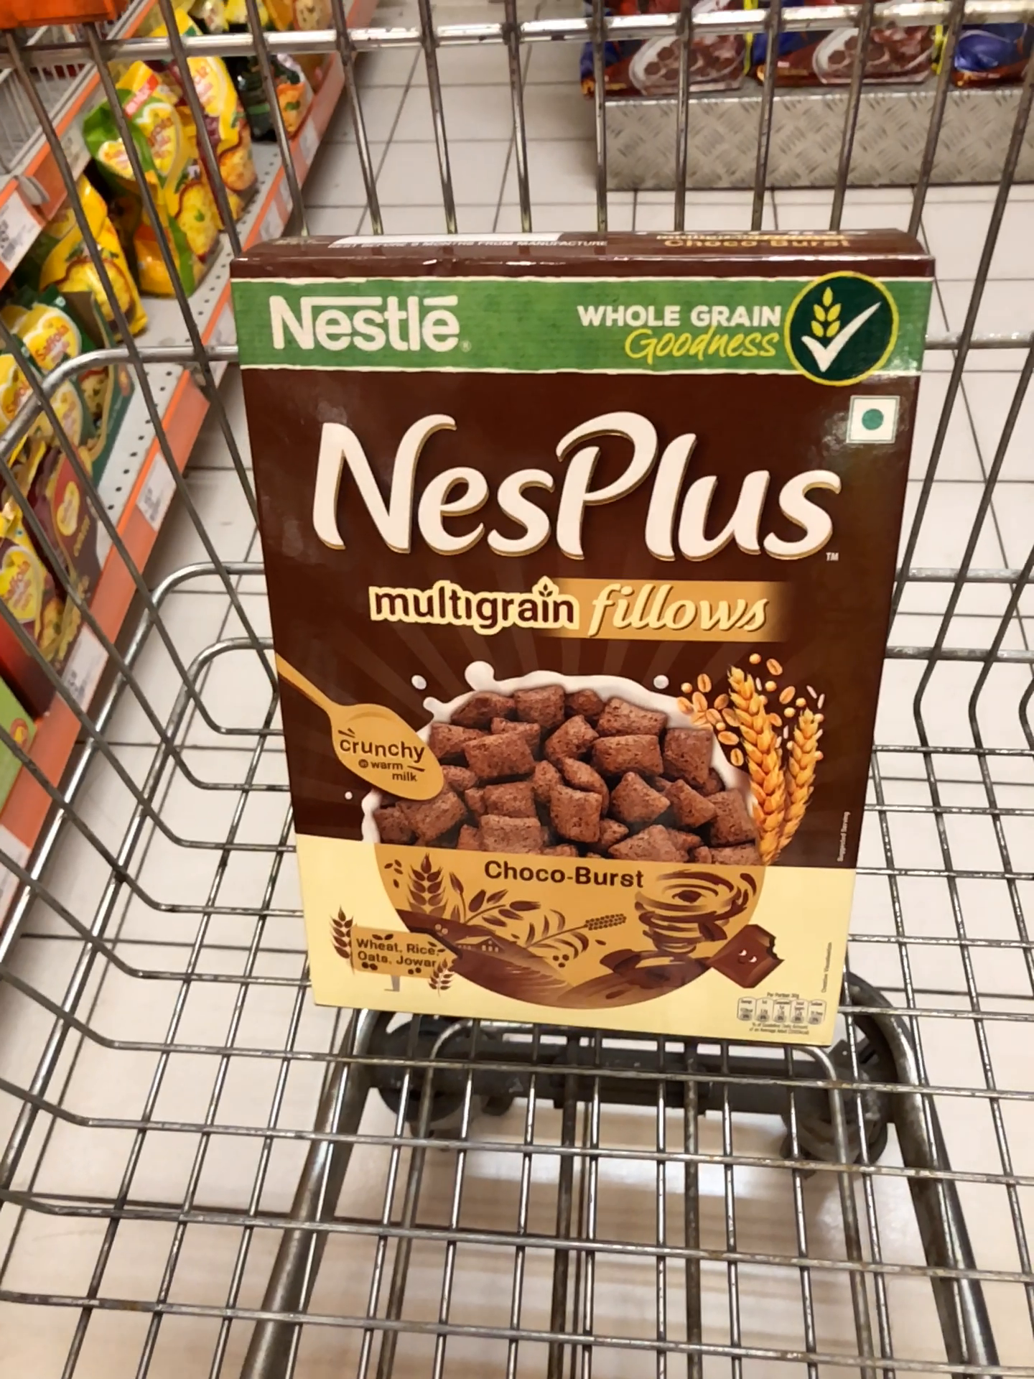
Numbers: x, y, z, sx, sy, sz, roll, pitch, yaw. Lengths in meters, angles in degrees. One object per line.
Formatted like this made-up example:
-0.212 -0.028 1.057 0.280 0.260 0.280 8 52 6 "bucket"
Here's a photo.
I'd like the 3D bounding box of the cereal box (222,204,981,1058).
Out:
0.024 -0.012 0.366 0.190 0.259 0.060 2 25 8 "cereal box"
